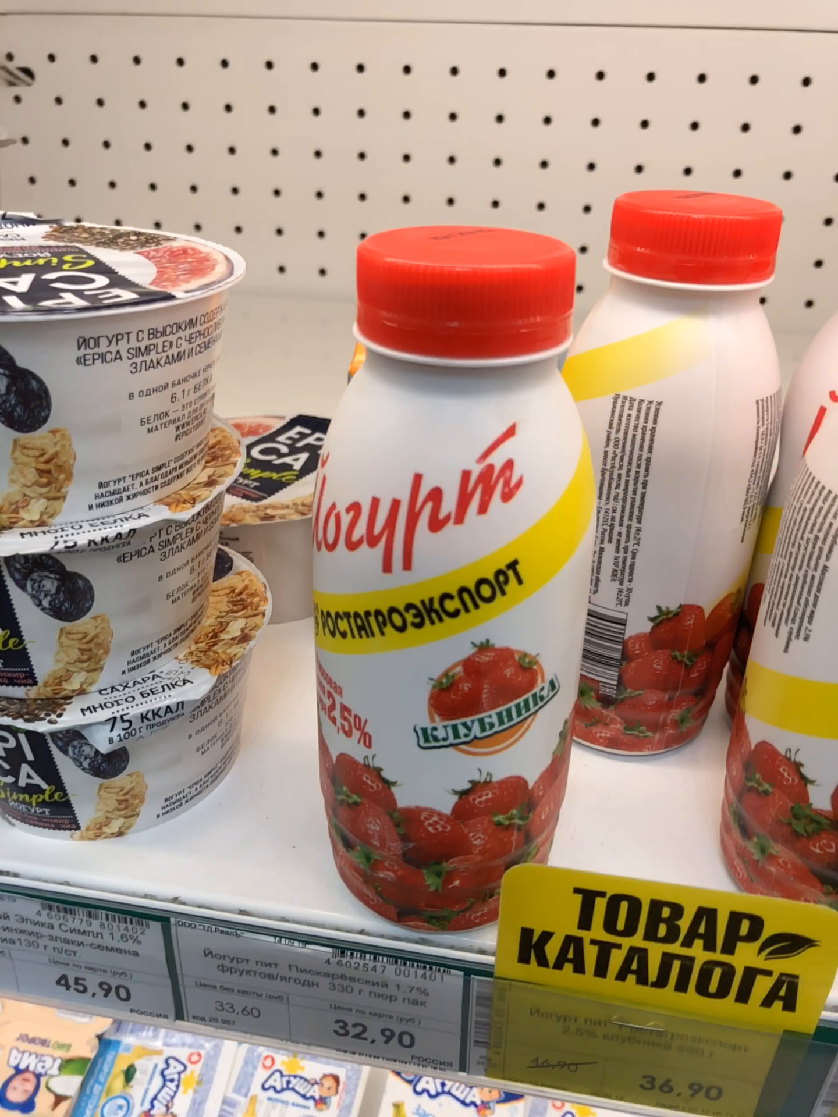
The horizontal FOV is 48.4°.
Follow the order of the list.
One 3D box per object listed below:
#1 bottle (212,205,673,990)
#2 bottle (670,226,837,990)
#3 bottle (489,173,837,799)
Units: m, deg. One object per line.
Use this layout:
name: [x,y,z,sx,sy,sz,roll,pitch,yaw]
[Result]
bottle: [0.004,0.009,0.199,0.058,0.146,0.057,1,30,0]
bottle: [0.102,0.013,0.195,0.058,0.146,0.057,1,30,0]
bottle: [0.060,-0.018,0.247,0.052,0.146,0.055,1,30,0]
